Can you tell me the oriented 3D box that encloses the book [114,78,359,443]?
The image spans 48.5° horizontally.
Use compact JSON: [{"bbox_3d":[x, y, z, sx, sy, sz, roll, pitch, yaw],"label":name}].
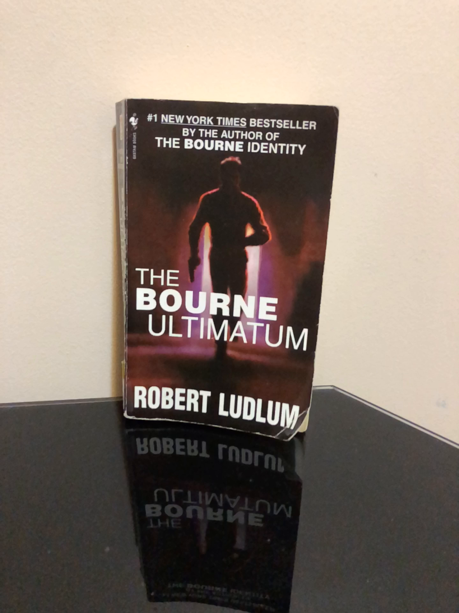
[{"bbox_3d":[0.002,-0.025,0.302,0.120,0.190,0.070,1,11,1],"label":"book"}]
